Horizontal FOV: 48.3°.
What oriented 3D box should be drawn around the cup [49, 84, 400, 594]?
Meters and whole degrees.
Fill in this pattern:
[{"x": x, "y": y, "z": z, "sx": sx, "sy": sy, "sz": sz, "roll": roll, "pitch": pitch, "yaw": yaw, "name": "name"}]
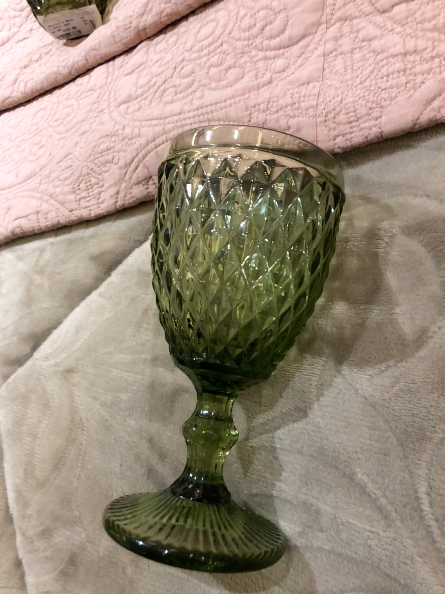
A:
[{"x": 0.009, "y": 0.022, "z": 0.221, "sx": 0.090, "sy": 0.080, "sz": 0.190, "roll": 3, "pitch": 75, "yaw": 37, "name": "cup"}]
